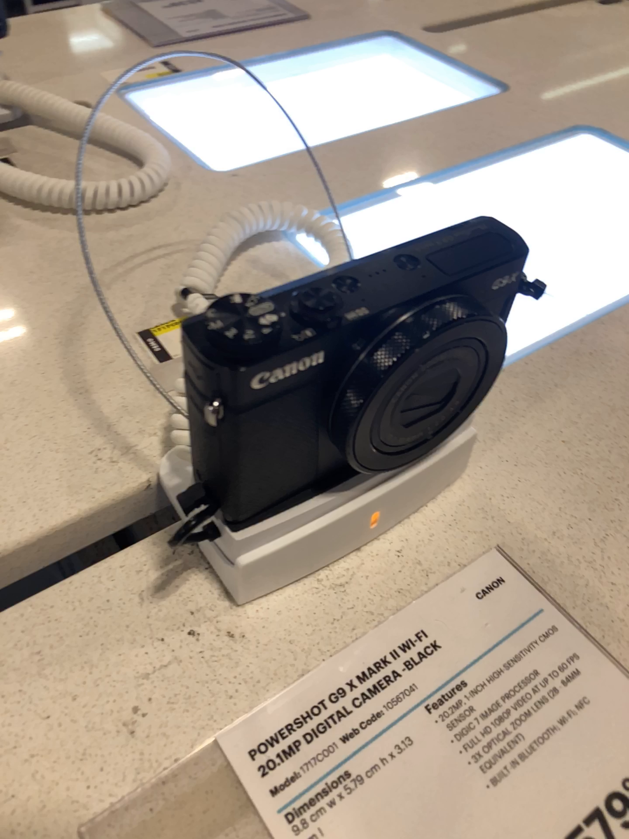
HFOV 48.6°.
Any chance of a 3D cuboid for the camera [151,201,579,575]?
[{"bbox_3d":[0.014,-0.010,0.181,0.100,0.060,0.030,-25,52,-24],"label":"camera"}]
